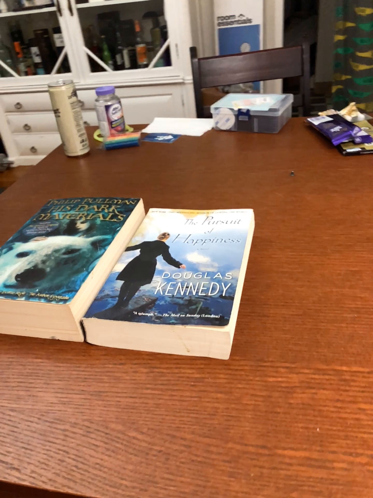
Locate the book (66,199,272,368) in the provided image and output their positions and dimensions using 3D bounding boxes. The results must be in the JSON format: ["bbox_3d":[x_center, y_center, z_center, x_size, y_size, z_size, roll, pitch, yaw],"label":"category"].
[{"bbox_3d":[0.001,0.018,0.487,0.180,0.040,0.251,2,35,15],"label":"book"}]

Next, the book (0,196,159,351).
[{"bbox_3d":[-0.160,0.011,0.539,0.180,0.050,0.251,2,35,15],"label":"book"}]
